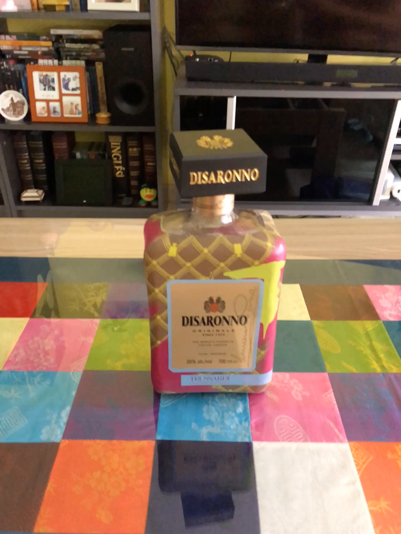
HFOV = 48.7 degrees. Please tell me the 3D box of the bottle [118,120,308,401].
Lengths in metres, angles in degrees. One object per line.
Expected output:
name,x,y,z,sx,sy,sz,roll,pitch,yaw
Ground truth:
bottle,0.006,0.003,0.375,0.120,0.229,0.080,0,33,-2
